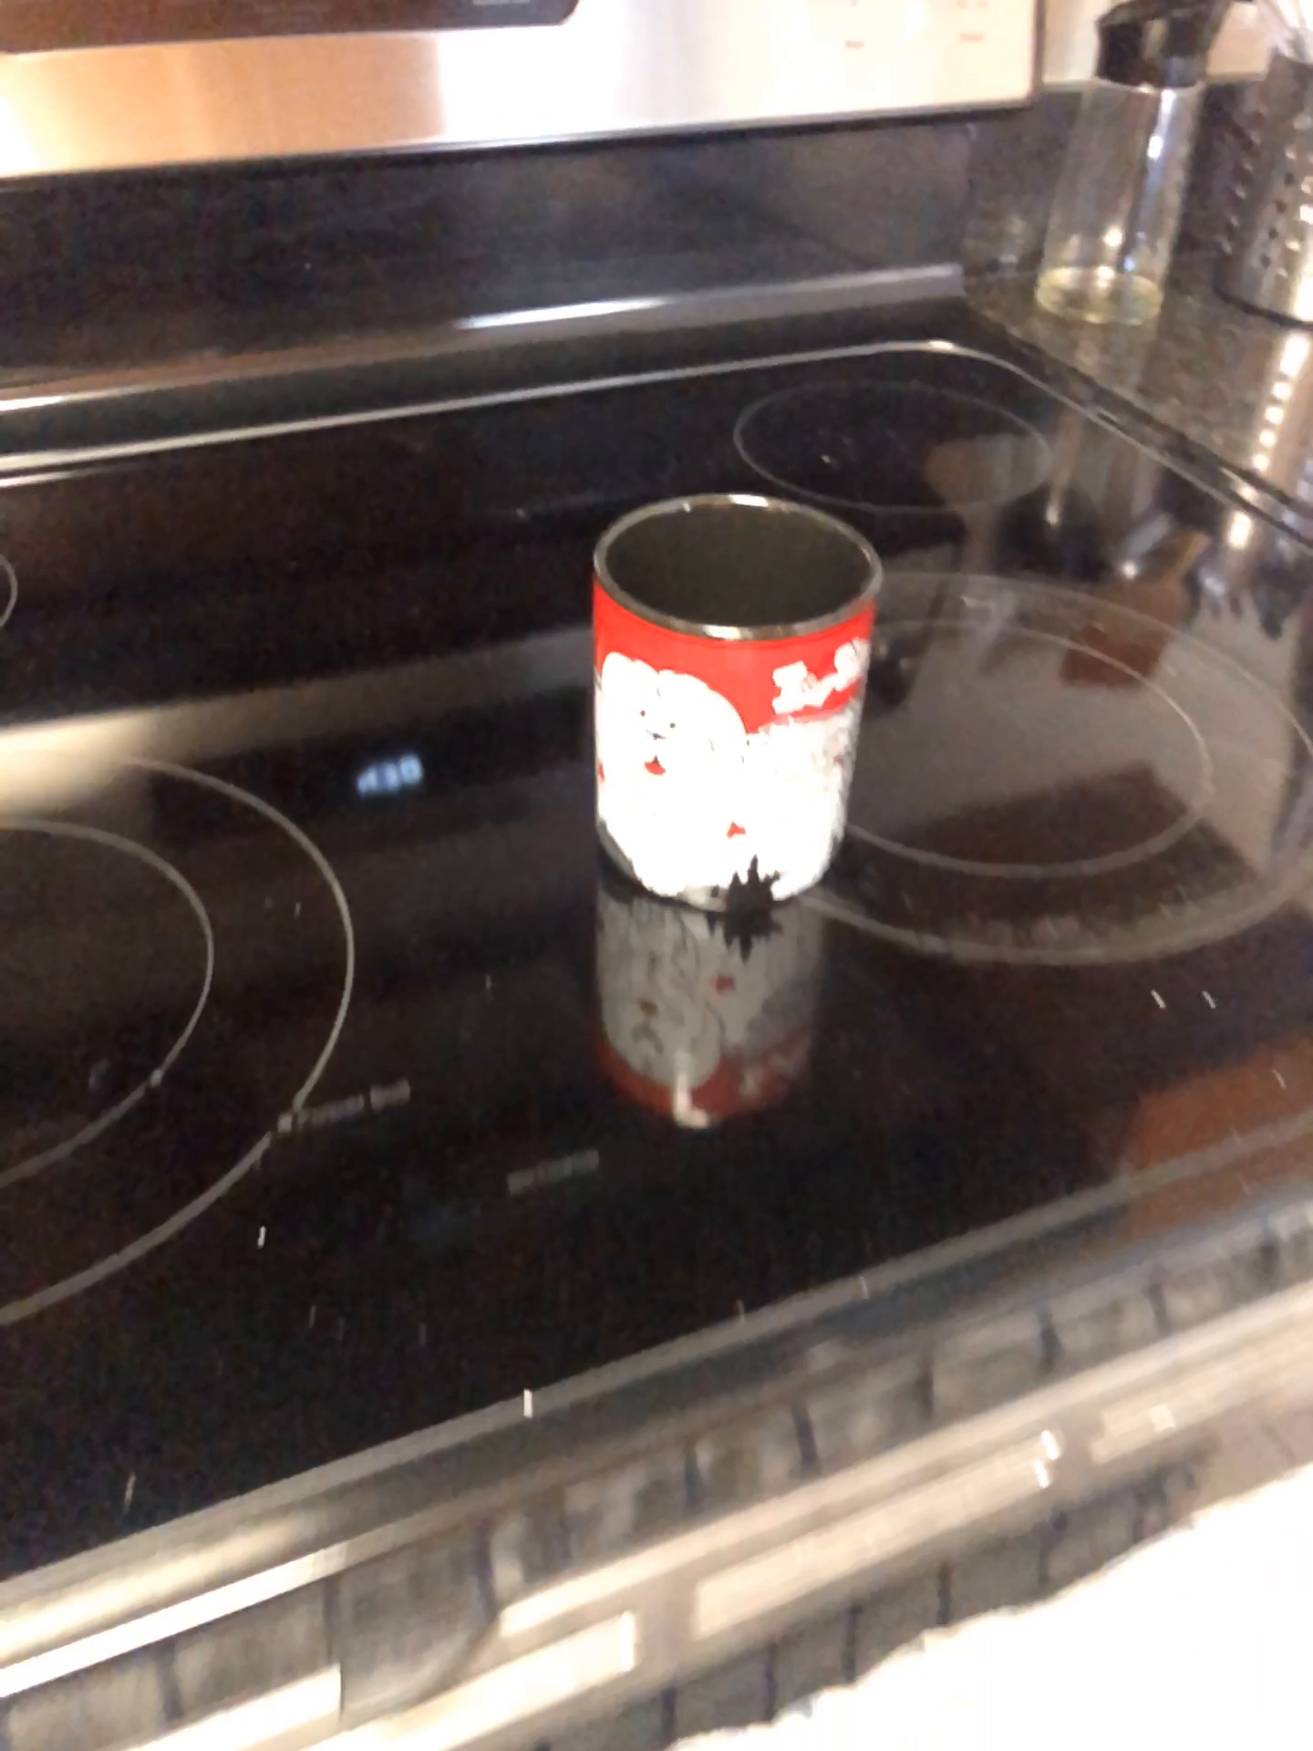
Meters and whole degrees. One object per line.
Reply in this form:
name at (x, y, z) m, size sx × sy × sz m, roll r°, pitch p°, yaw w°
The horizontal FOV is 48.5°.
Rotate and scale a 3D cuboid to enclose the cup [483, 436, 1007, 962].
cup at (0.027, -0.060, 0.447) m, size 0.090 × 0.090 × 0.130 m, roll 29°, pitch 46°, yaw 29°
